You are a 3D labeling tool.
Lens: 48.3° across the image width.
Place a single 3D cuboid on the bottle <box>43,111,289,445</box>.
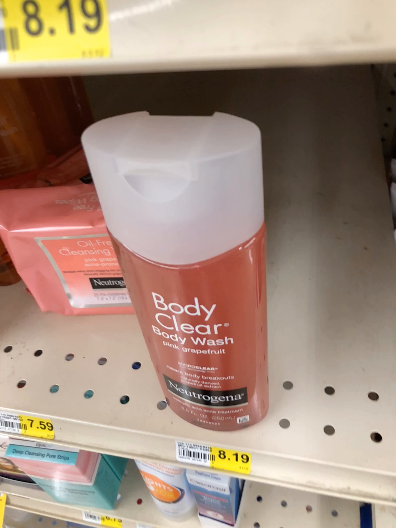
[{"bbox_3d":[0.003,0.025,0.203,0.070,0.190,0.030,6,49,15],"label":"bottle"}]
